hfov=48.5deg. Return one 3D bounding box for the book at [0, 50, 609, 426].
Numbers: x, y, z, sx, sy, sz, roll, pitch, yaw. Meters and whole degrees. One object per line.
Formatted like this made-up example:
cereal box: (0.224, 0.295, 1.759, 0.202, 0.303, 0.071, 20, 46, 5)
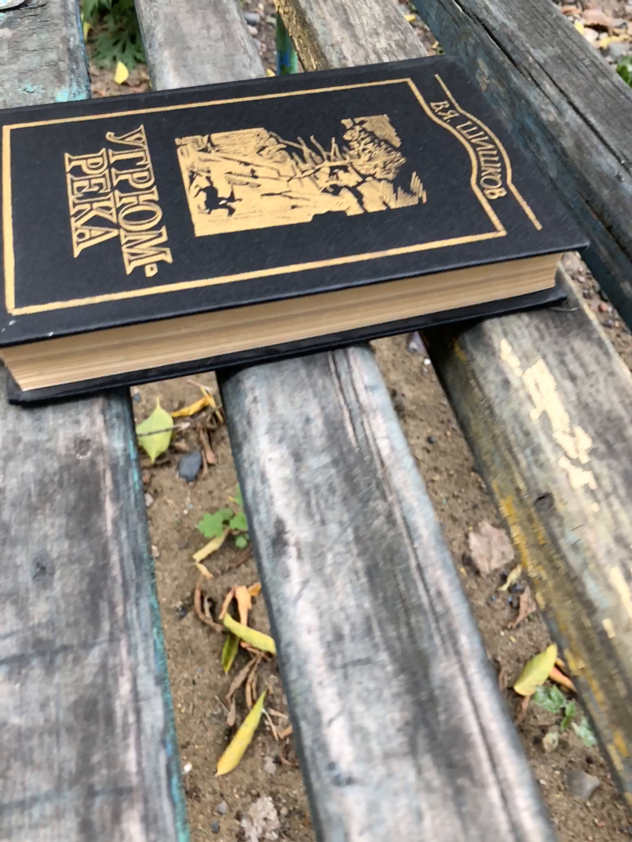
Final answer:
book: (-0.018, -0.083, 0.274, 0.210, 0.030, 0.138, -11, 57, -10)
